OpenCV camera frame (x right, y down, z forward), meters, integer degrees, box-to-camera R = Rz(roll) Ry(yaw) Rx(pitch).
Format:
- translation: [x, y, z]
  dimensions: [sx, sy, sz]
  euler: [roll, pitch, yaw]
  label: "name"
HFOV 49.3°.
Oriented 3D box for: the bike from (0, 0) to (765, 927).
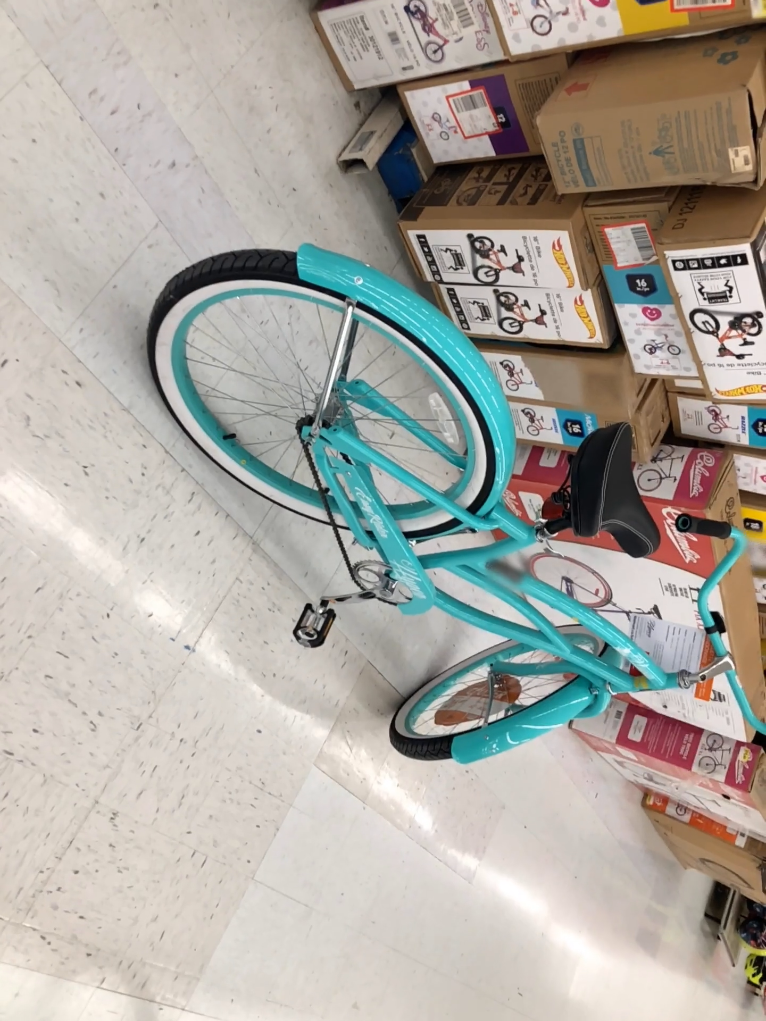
- translation: [0.360, 0.076, 1.666]
  dimensions: [1.589, 1.152, 0.852]
  euler: [43, 65, -48]
  label: "bike"
